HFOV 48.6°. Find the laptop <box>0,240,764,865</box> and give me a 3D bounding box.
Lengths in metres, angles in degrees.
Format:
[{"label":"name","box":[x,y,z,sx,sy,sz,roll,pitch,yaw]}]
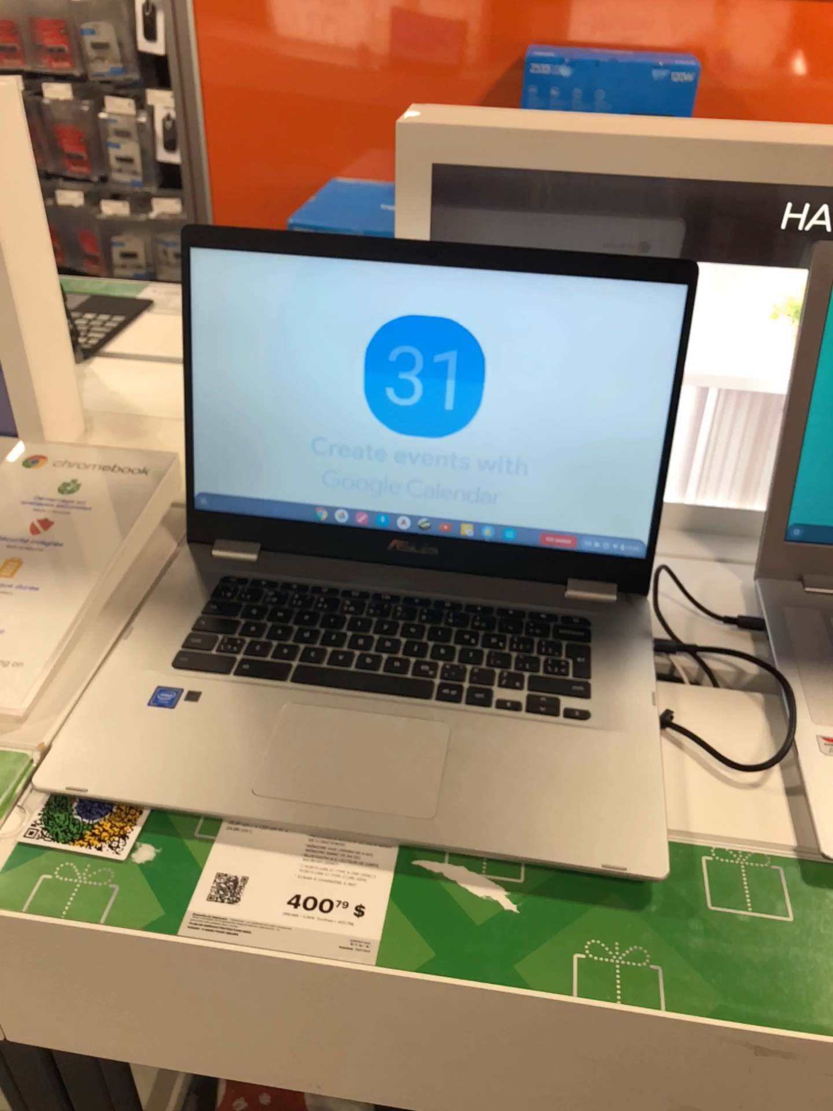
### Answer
[{"label":"laptop","box":[-0.012,-0.027,0.546,0.337,0.225,0.287,6,34,7]}]
